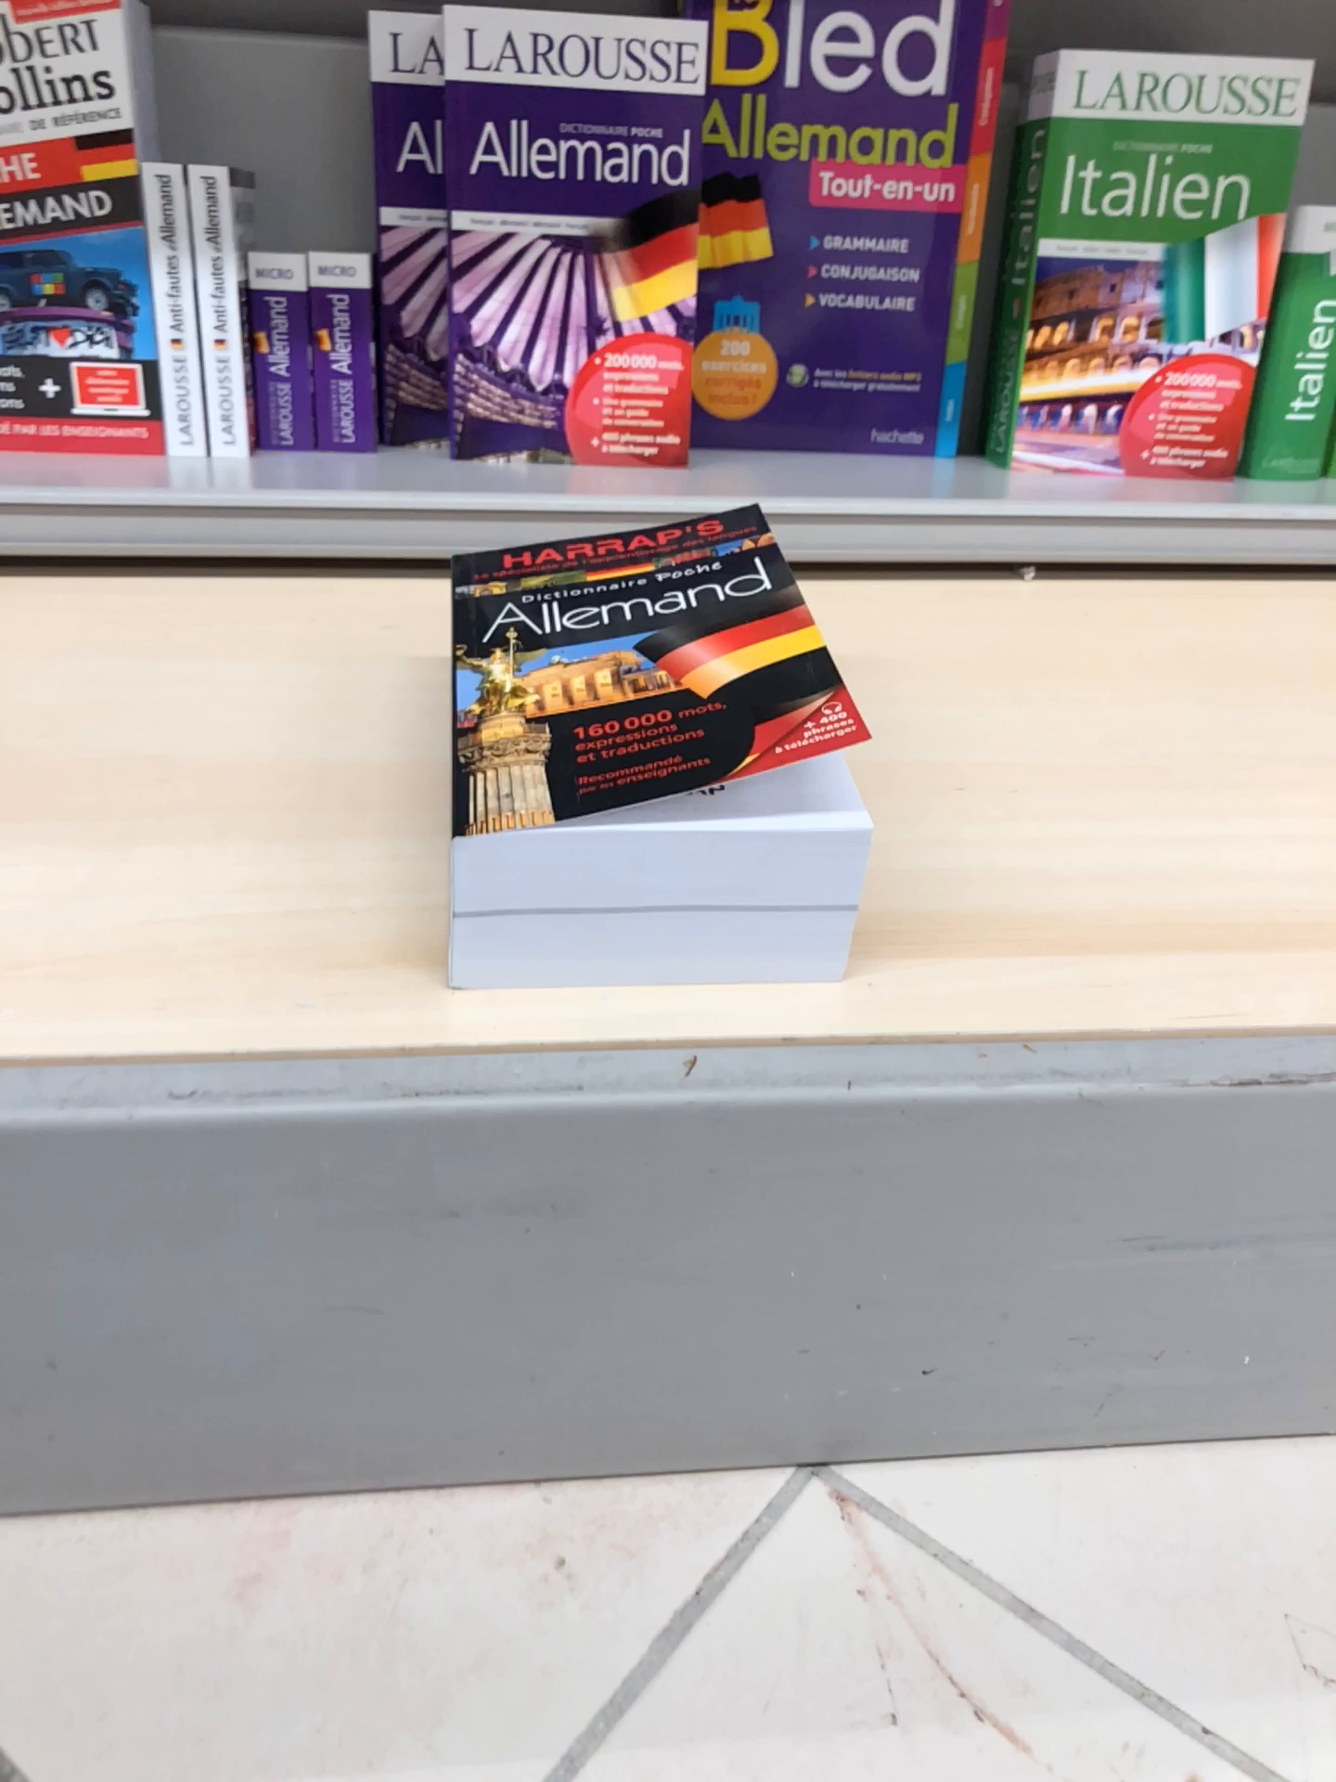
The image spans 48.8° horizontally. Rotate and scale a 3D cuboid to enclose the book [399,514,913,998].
[{"bbox_3d":[-0.015,-0.050,0.437,0.122,0.060,0.181,-1,34,-9],"label":"book"}]
